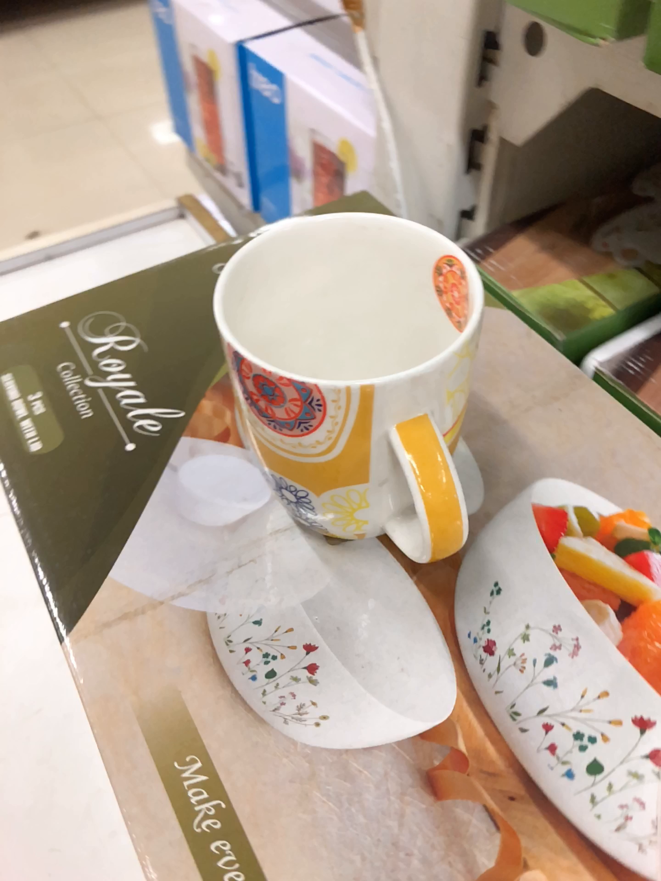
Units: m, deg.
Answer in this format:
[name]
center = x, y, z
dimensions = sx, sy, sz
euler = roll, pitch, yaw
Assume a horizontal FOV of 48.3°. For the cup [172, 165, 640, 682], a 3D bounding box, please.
[cup]
center = 0.013, -0.010, 0.237
dimensions = 0.090, 0.089, 0.121
euler = -15, 50, -12
